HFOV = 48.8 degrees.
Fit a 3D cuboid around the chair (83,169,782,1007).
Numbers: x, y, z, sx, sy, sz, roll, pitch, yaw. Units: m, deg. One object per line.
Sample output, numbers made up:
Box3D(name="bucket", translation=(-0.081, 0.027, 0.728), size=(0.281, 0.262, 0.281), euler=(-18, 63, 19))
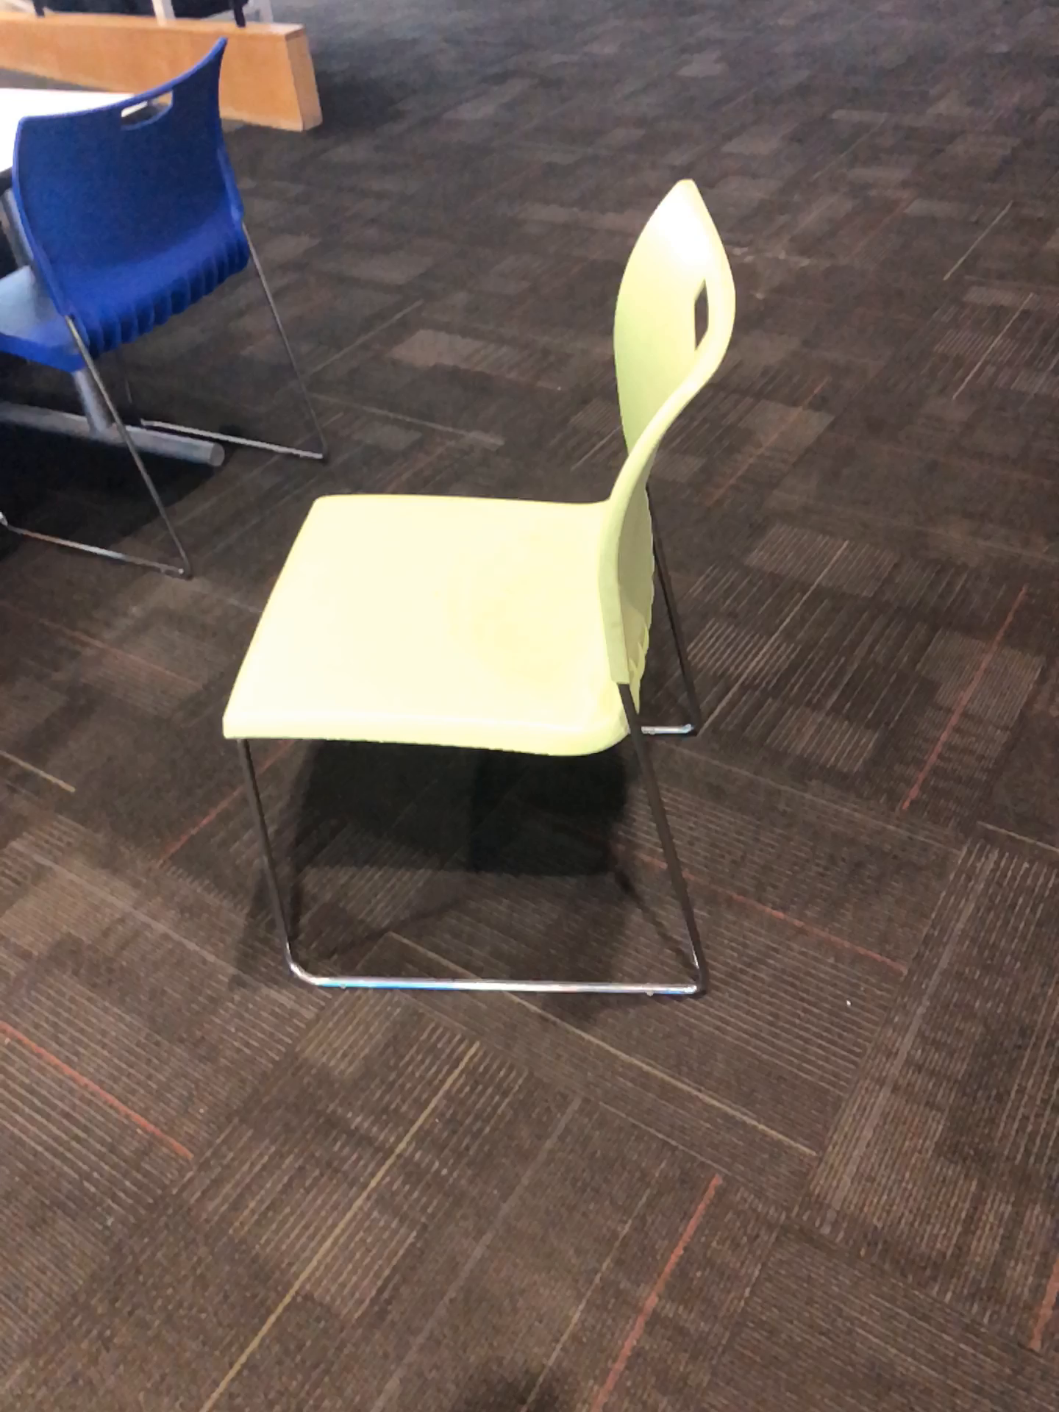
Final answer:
Box3D(name="chair", translation=(-0.029, -0.114, 1.335), size=(0.540, 0.756, 0.543), euler=(-1, 41, 7))
